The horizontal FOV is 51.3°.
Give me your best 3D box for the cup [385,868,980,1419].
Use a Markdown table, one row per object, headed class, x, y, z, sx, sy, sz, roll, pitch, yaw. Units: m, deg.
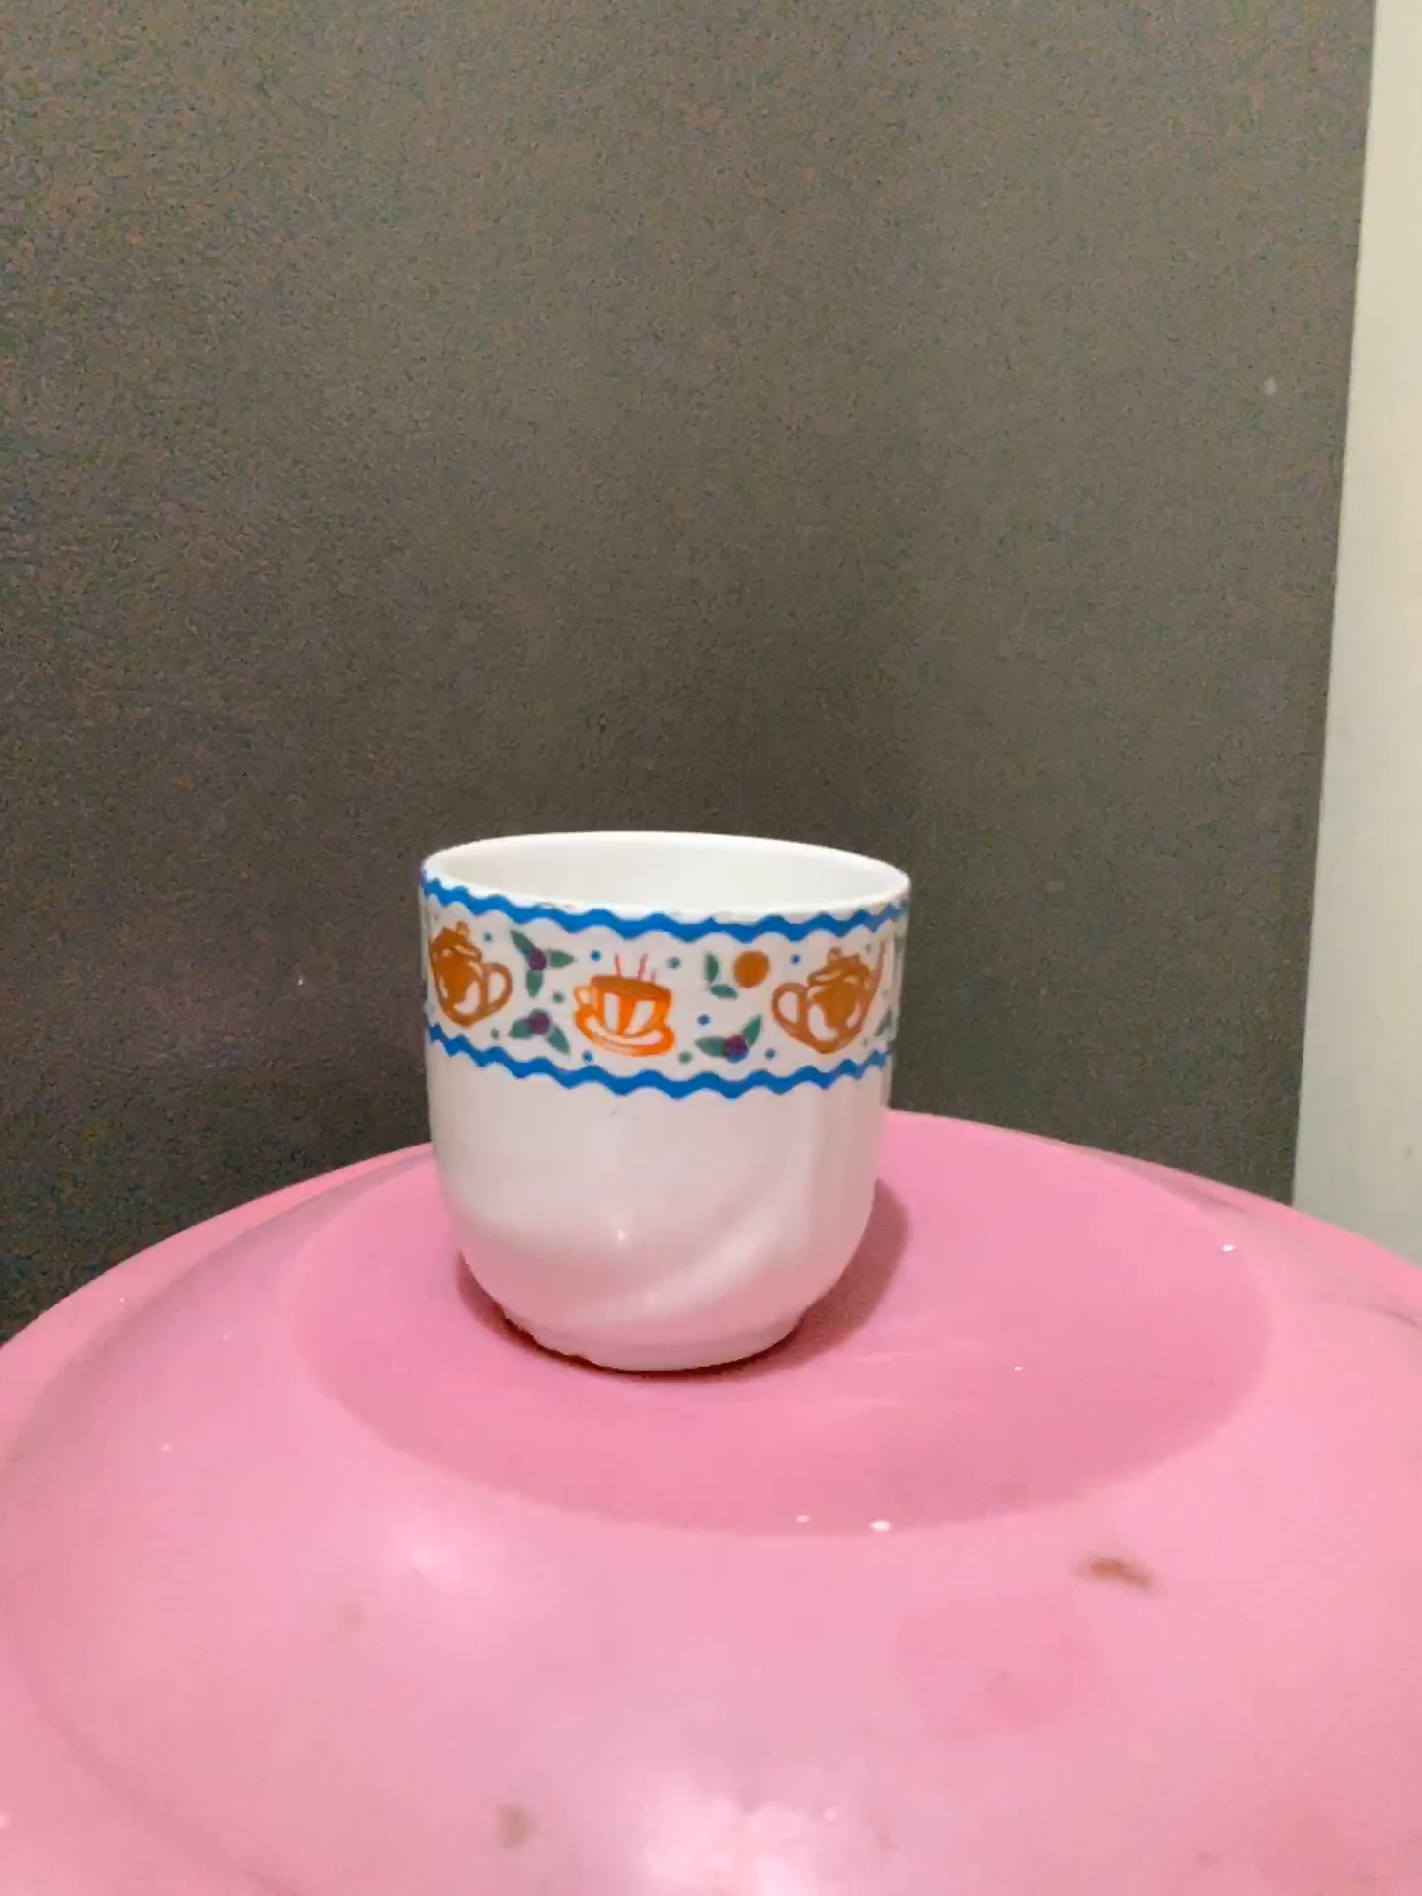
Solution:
| class | x | y | z | sx | sy | sz | roll | pitch | yaw |
| --- | --- | --- | --- | --- | --- | --- | --- | --- | --- |
| cup | -0.004 | 0.022 | 0.213 | 0.070 | 0.060 | 0.070 | 0 | 9 | 0 |
